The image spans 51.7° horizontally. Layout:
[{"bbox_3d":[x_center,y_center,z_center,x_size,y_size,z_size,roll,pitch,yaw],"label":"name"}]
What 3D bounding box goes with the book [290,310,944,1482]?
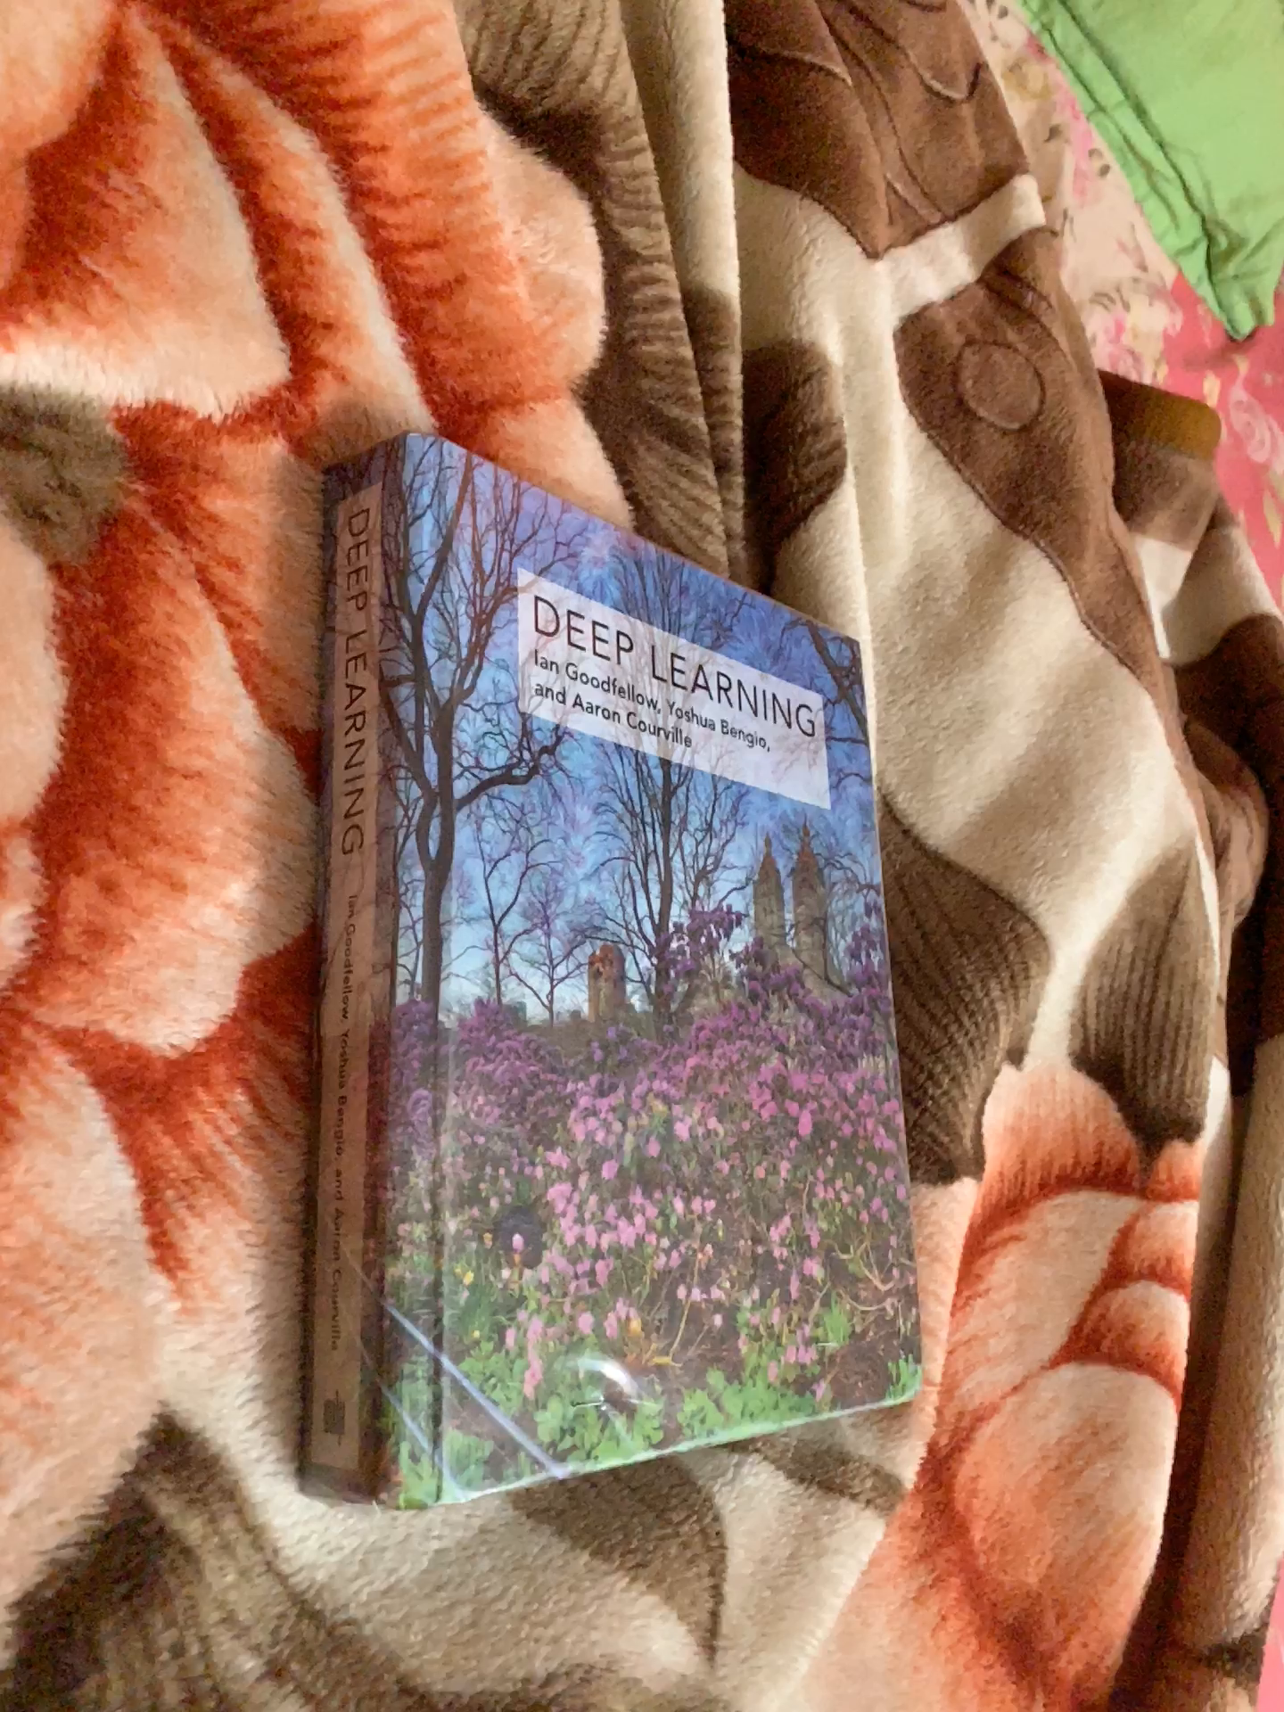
[{"bbox_3d":[0.006,0.014,0.372,0.211,0.030,0.260,15,67,-46],"label":"book"}]
